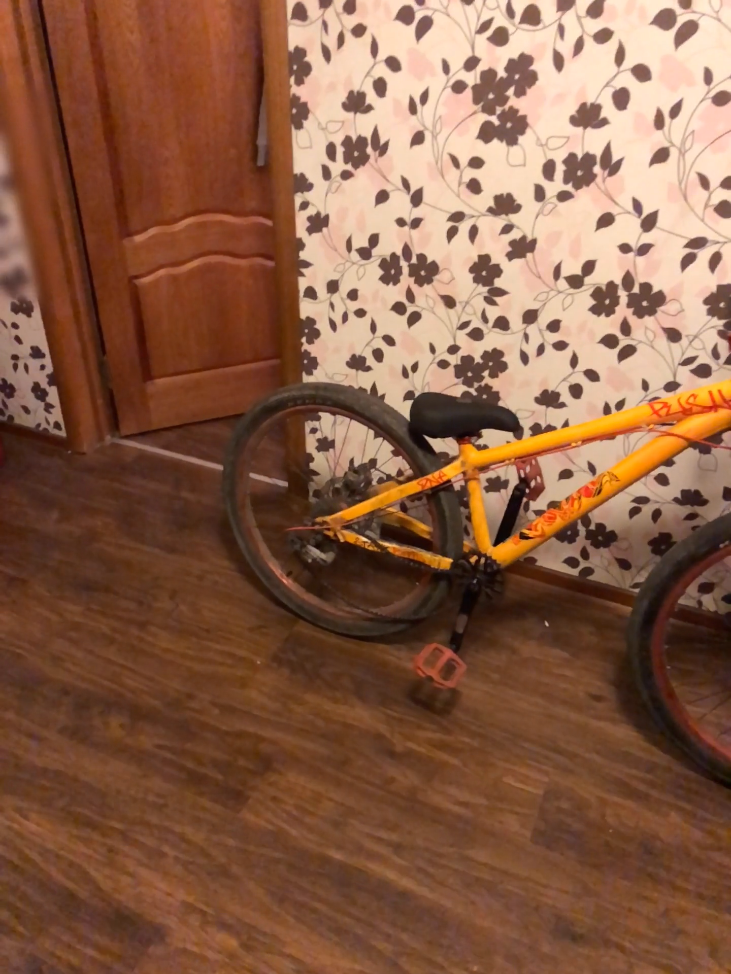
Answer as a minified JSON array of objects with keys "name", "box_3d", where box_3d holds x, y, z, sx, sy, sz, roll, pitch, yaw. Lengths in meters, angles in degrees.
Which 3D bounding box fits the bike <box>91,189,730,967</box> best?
[{"name":"bike","box_3d":[0.365,0.006,1.633,1.677,1.005,0.663,13,34,25]}]
